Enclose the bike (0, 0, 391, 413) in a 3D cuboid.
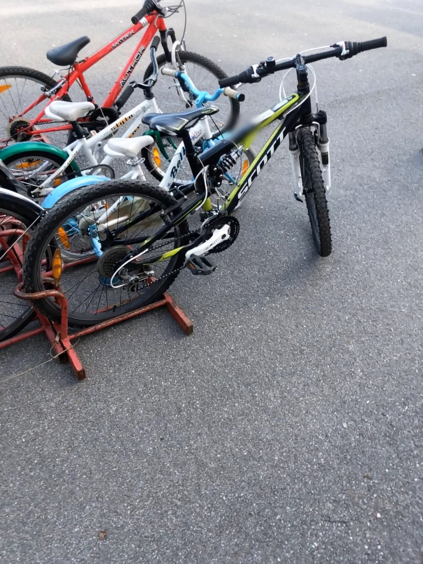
[{"bbox_3d":[-0.046,-0.383,1.689,1.376,0.901,0.530,-30,50,-31],"label":"bike"}]
